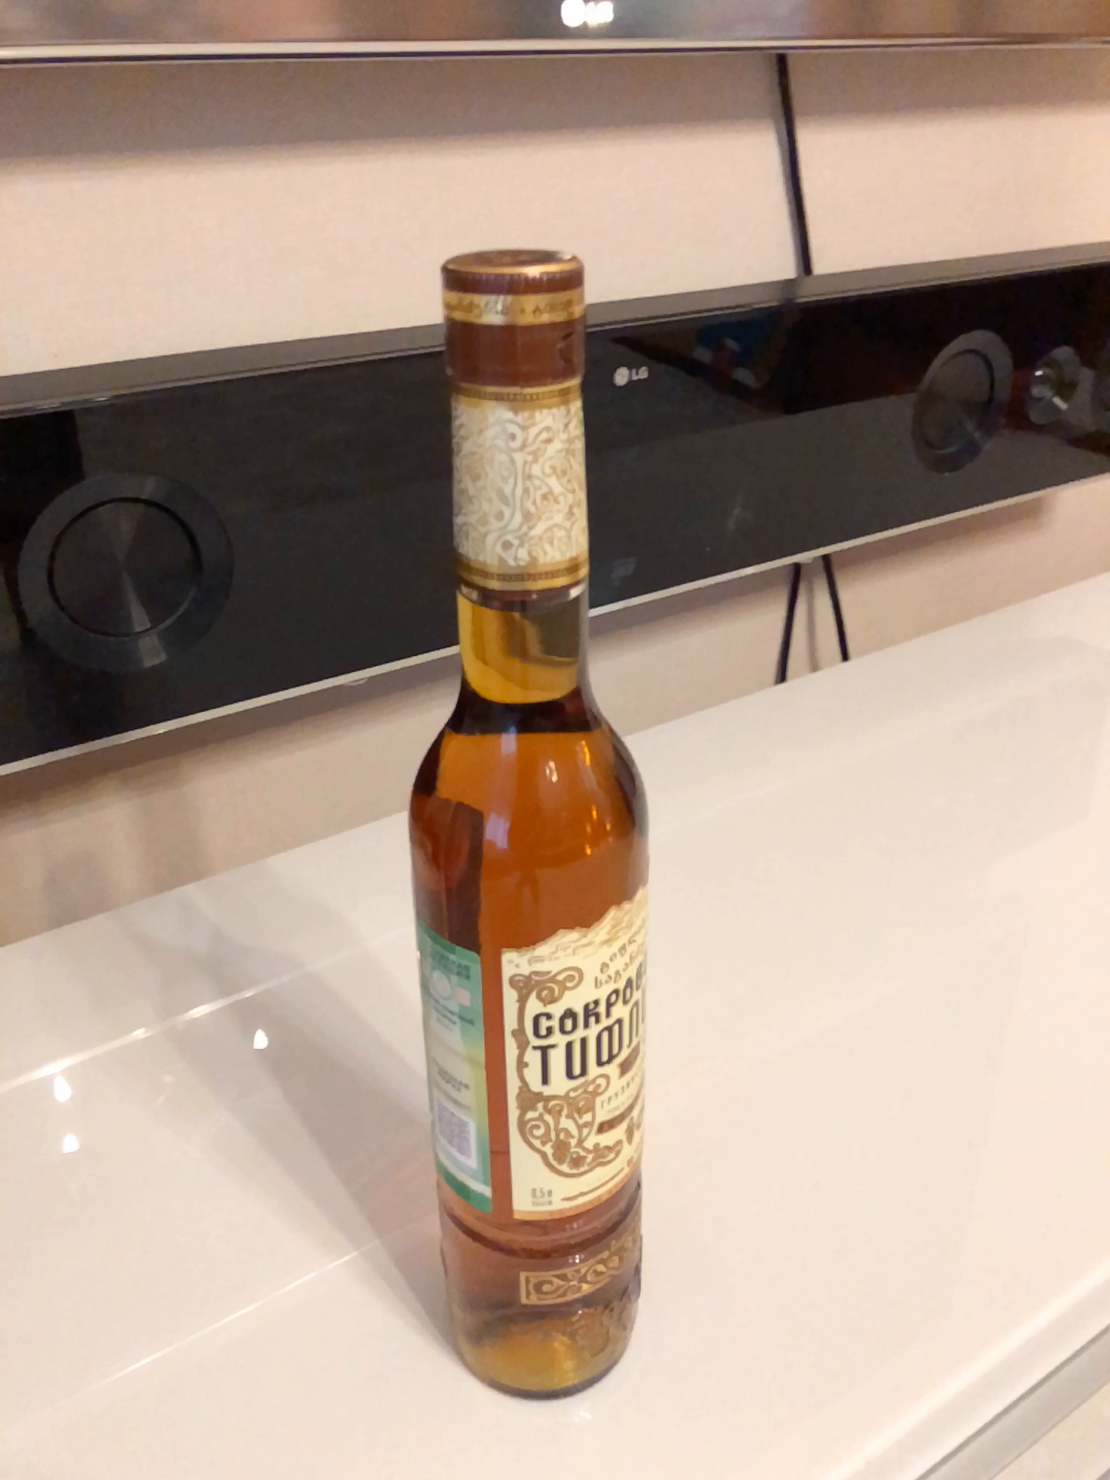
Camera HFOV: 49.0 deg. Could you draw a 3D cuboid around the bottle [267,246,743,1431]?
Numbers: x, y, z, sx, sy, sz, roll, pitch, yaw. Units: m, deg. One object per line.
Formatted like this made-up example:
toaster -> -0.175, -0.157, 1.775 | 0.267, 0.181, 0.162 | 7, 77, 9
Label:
bottle -> -0.006, 0.040, 0.321 | 0.070, 0.308, 0.070 | -1, 28, 1
